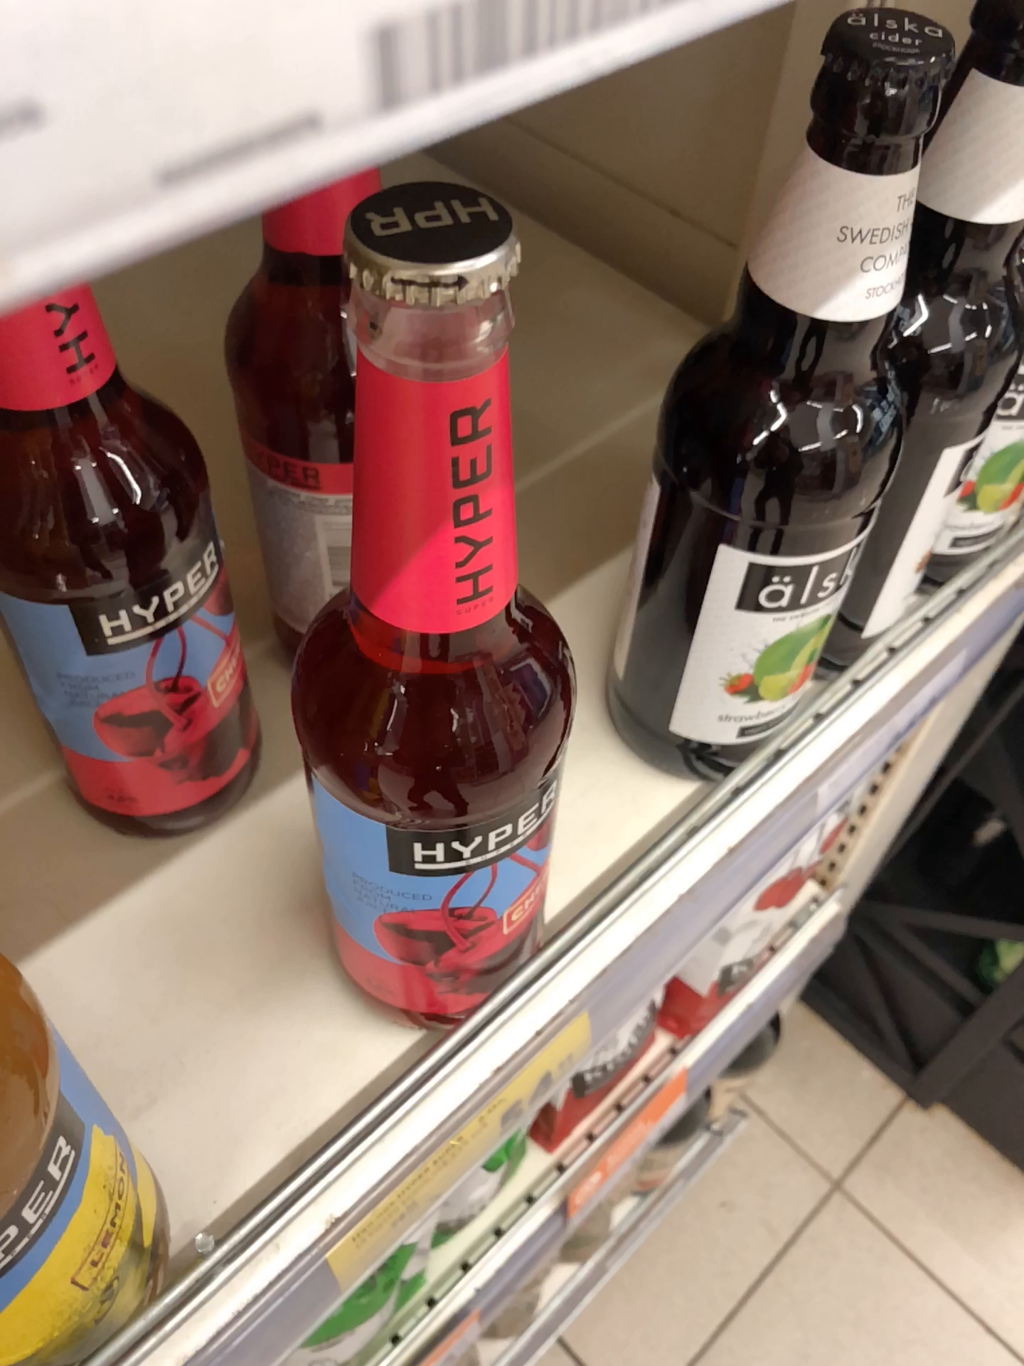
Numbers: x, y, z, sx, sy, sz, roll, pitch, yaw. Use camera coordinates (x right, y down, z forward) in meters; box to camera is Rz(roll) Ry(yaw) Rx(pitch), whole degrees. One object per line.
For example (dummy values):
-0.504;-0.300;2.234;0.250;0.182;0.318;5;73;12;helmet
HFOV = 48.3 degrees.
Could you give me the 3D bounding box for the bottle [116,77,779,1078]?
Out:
-0.016;0.002;0.276;0.080;0.243;0.070;-26;58;-22;bottle
